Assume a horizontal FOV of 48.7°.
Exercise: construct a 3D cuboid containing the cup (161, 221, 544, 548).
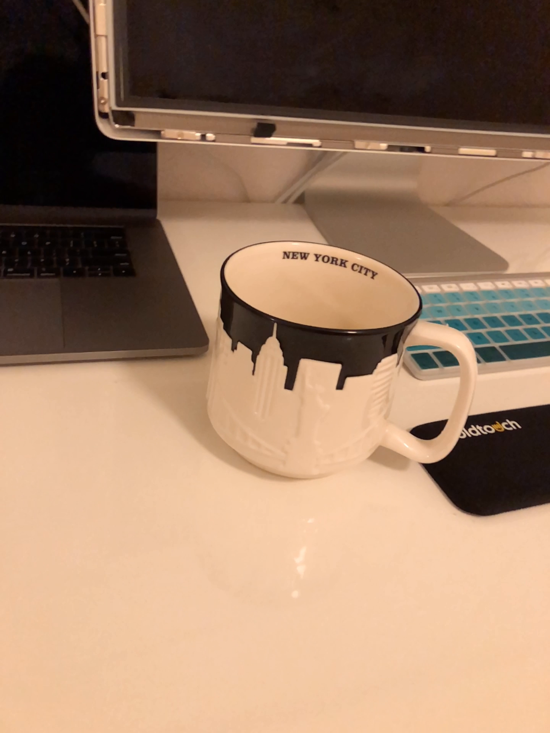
[{"bbox_3d":[0.039,0.001,0.322,0.160,0.089,0.111,15,34,9],"label":"cup"}]
